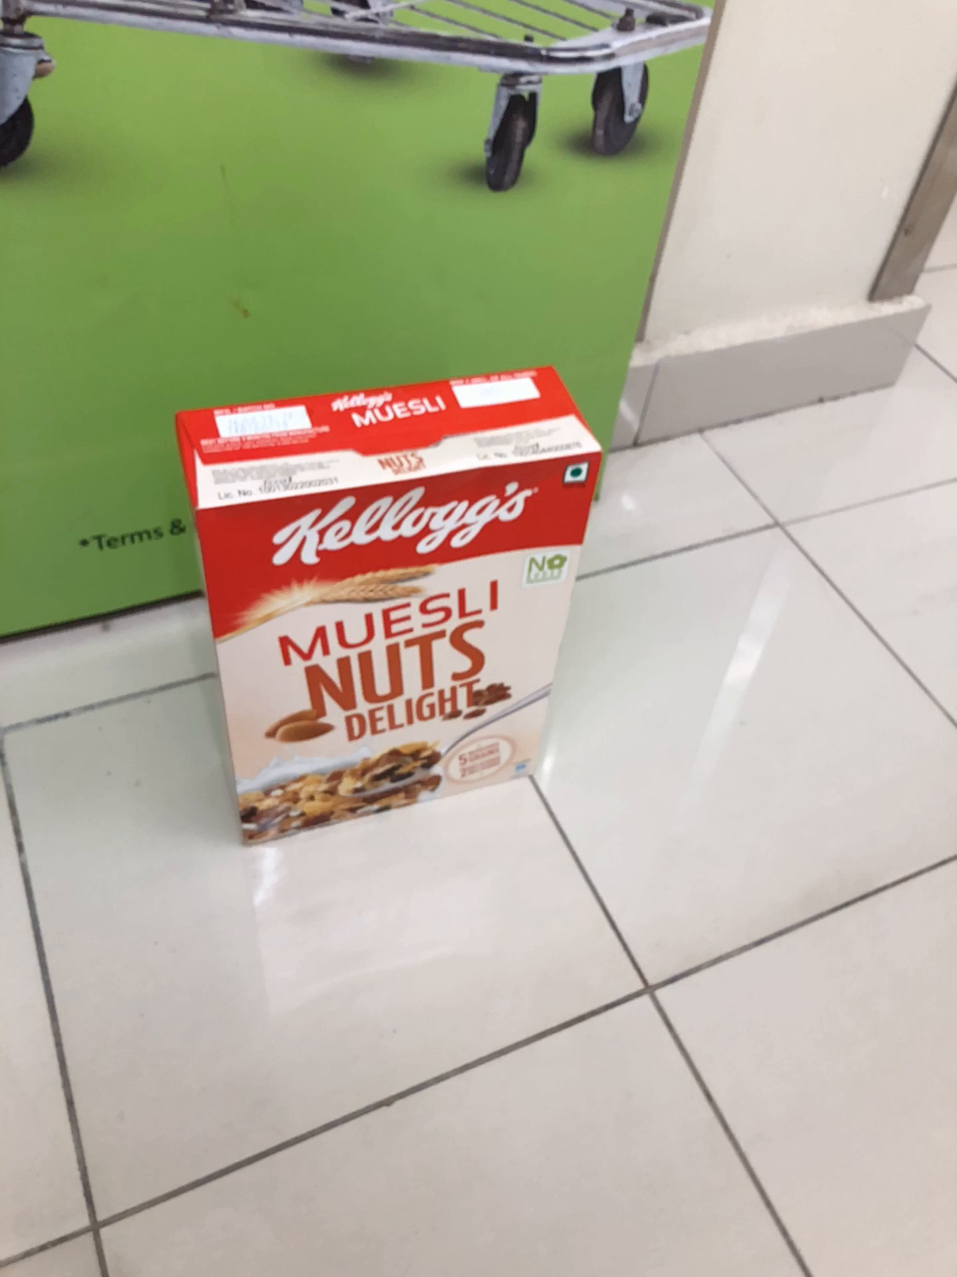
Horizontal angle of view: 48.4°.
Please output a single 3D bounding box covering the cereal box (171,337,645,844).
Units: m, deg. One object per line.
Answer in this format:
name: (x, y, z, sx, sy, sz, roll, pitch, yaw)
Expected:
cereal box: (-0.045, -0.016, 0.579, 0.200, 0.268, 0.080, -10, 50, -17)
